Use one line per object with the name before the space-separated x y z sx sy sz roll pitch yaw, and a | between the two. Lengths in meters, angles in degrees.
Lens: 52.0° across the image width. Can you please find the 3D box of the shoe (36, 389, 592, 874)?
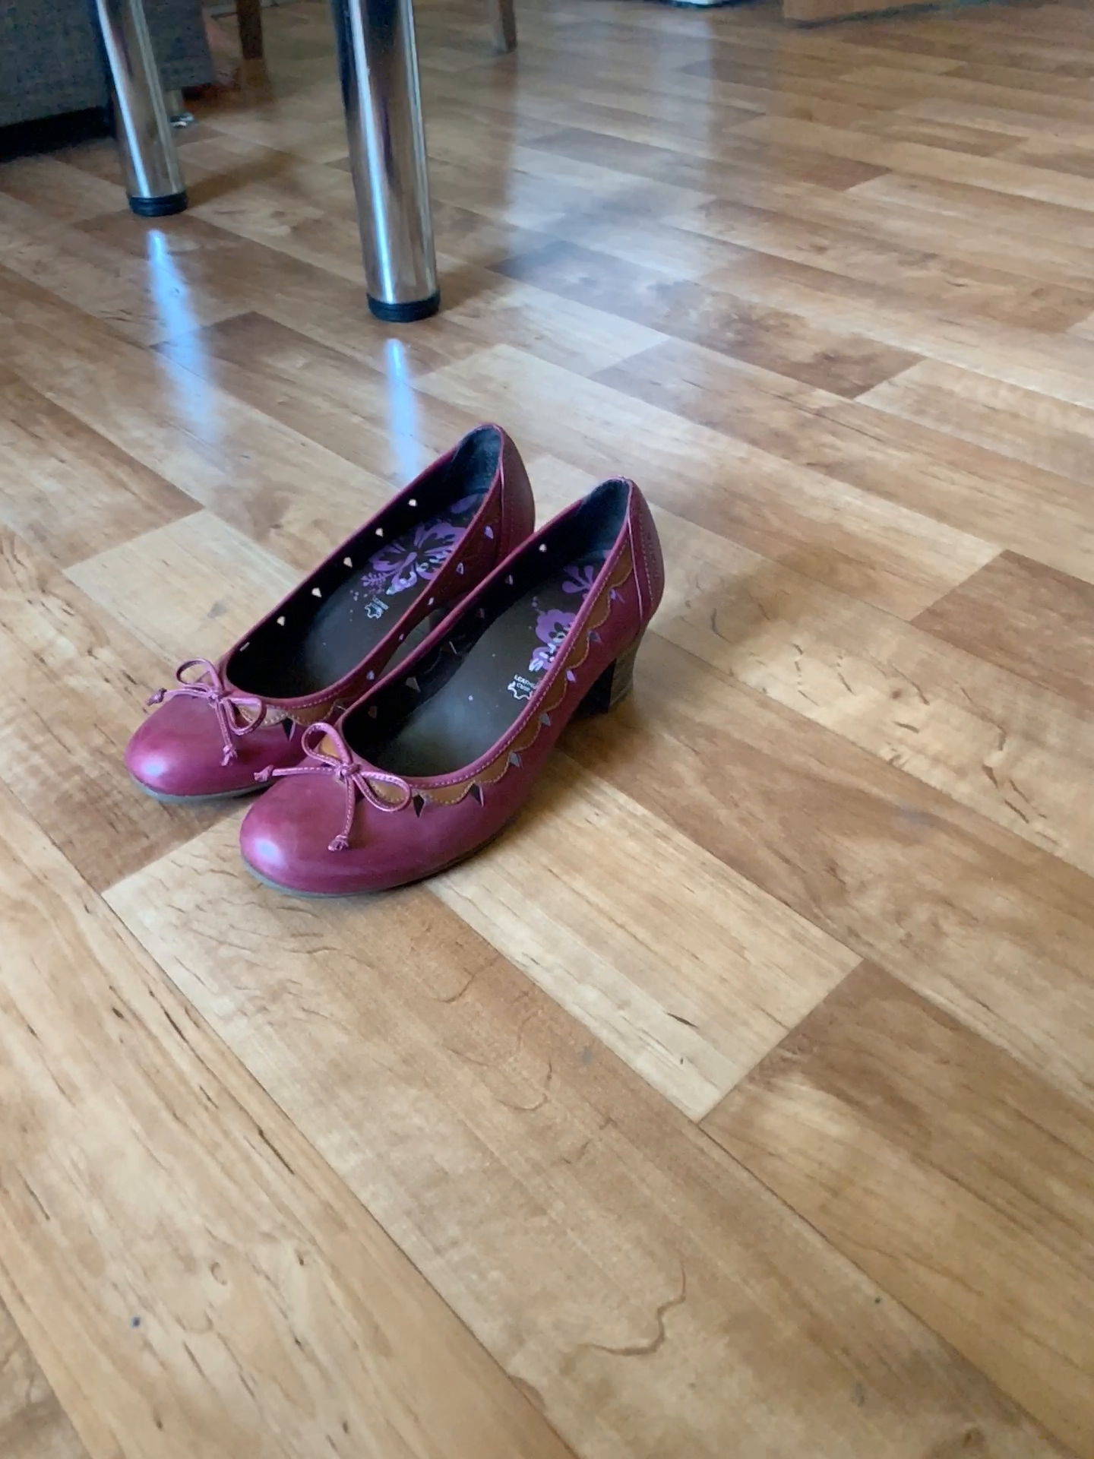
shoe | -0.093 -0.058 0.537 0.090 0.109 0.240 31 51 33

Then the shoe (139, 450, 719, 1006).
shoe | -0.035 -0.014 0.491 0.090 0.109 0.240 29 50 31
